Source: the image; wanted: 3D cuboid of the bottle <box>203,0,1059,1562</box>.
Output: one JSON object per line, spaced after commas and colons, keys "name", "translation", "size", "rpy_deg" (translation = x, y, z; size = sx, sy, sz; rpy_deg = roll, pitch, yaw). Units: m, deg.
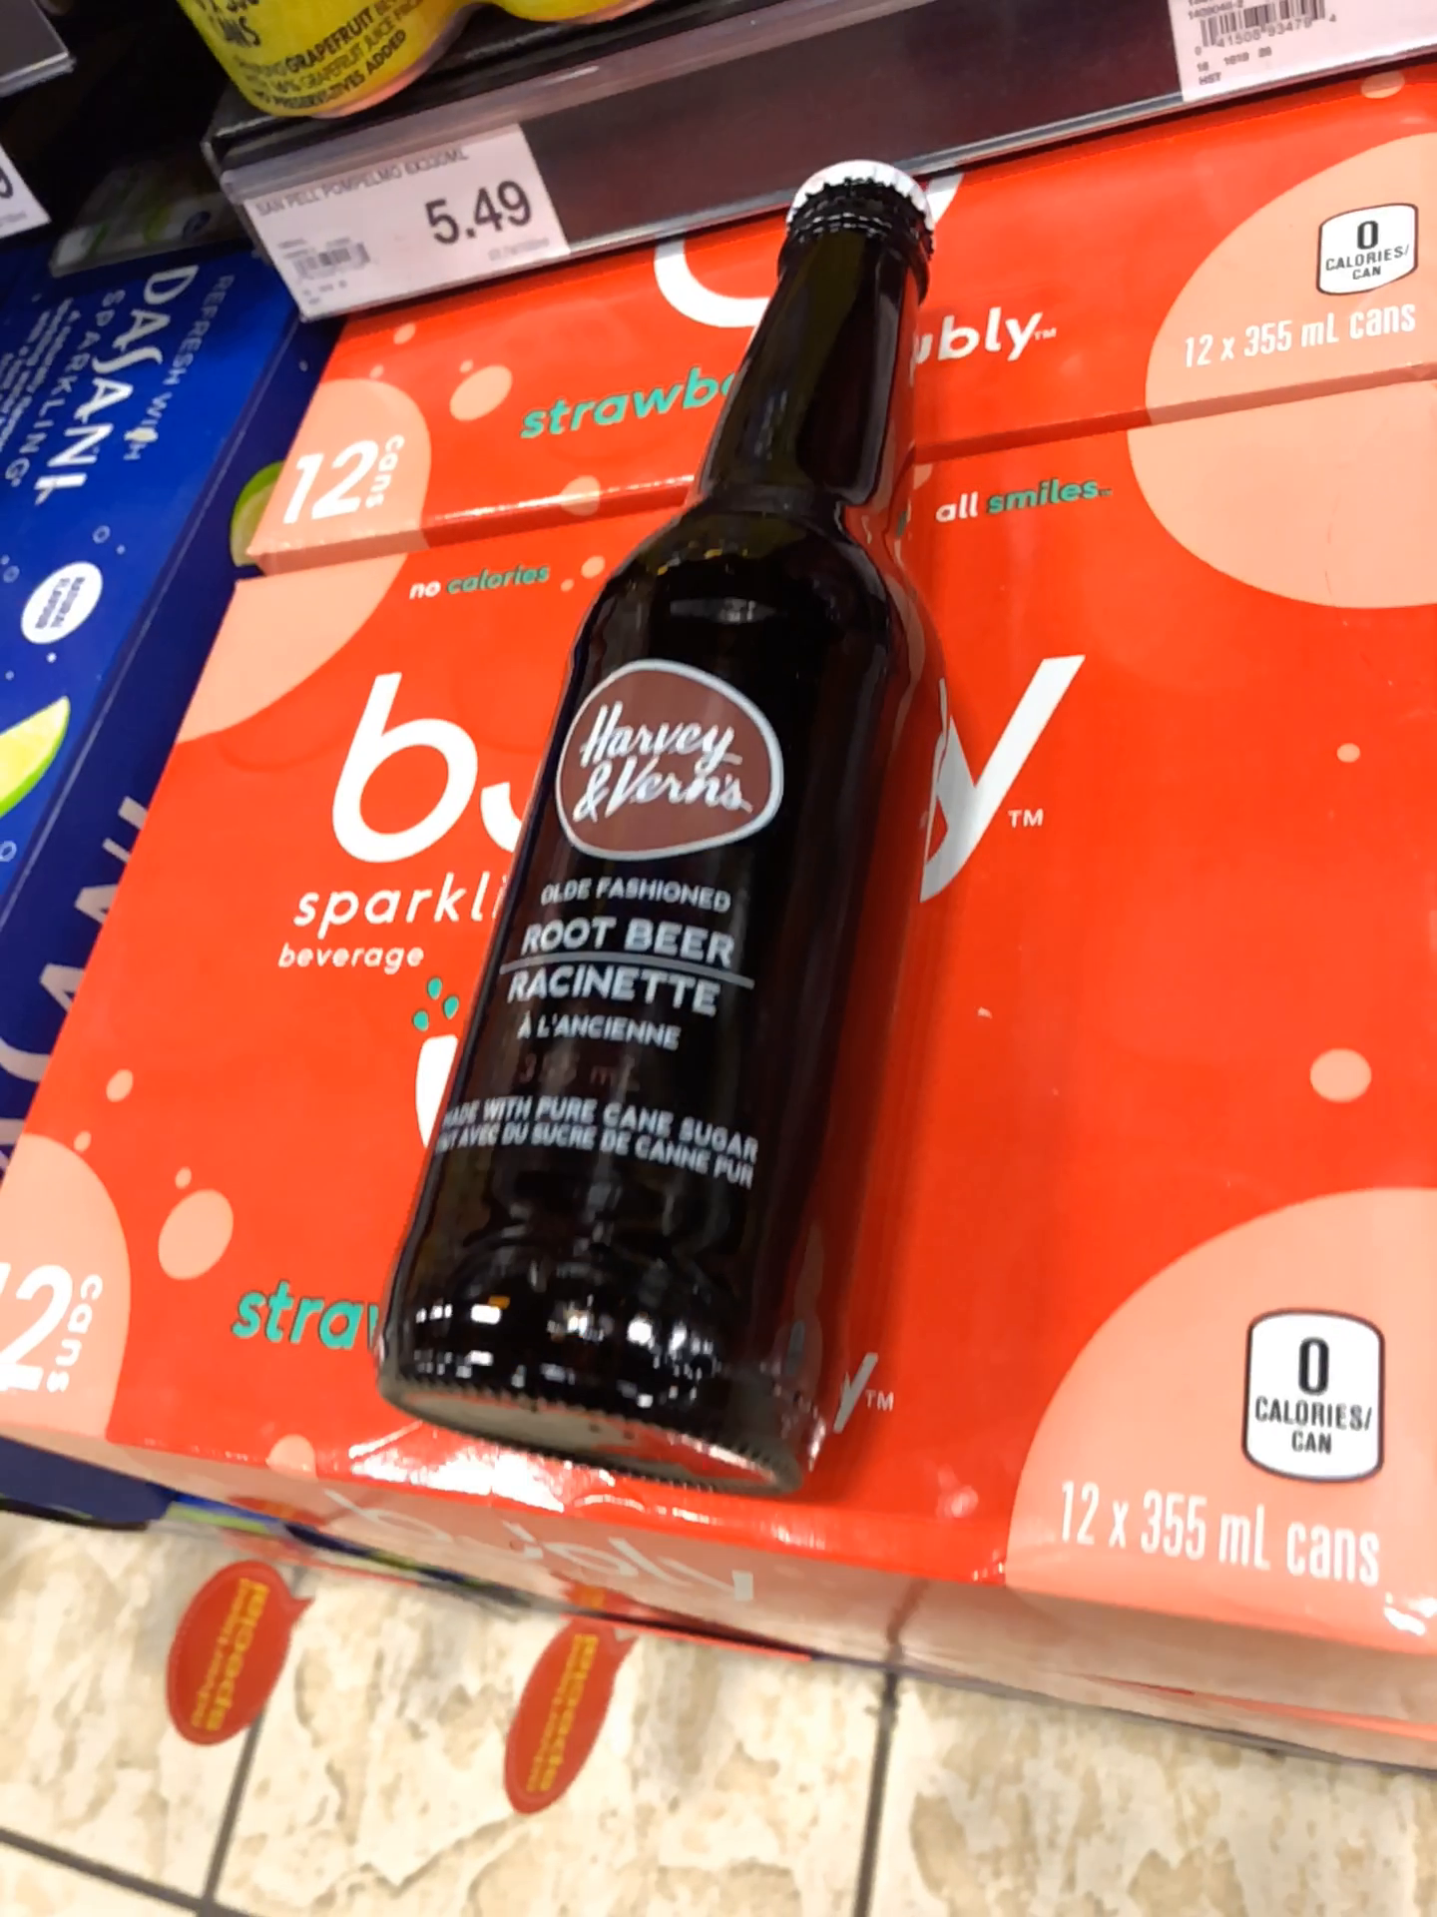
{"name": "bottle", "translation": [0.003, -0.038, 0.246], "size": [0.060, 0.070, 0.230], "rpy_deg": [-1, 63, 26]}
